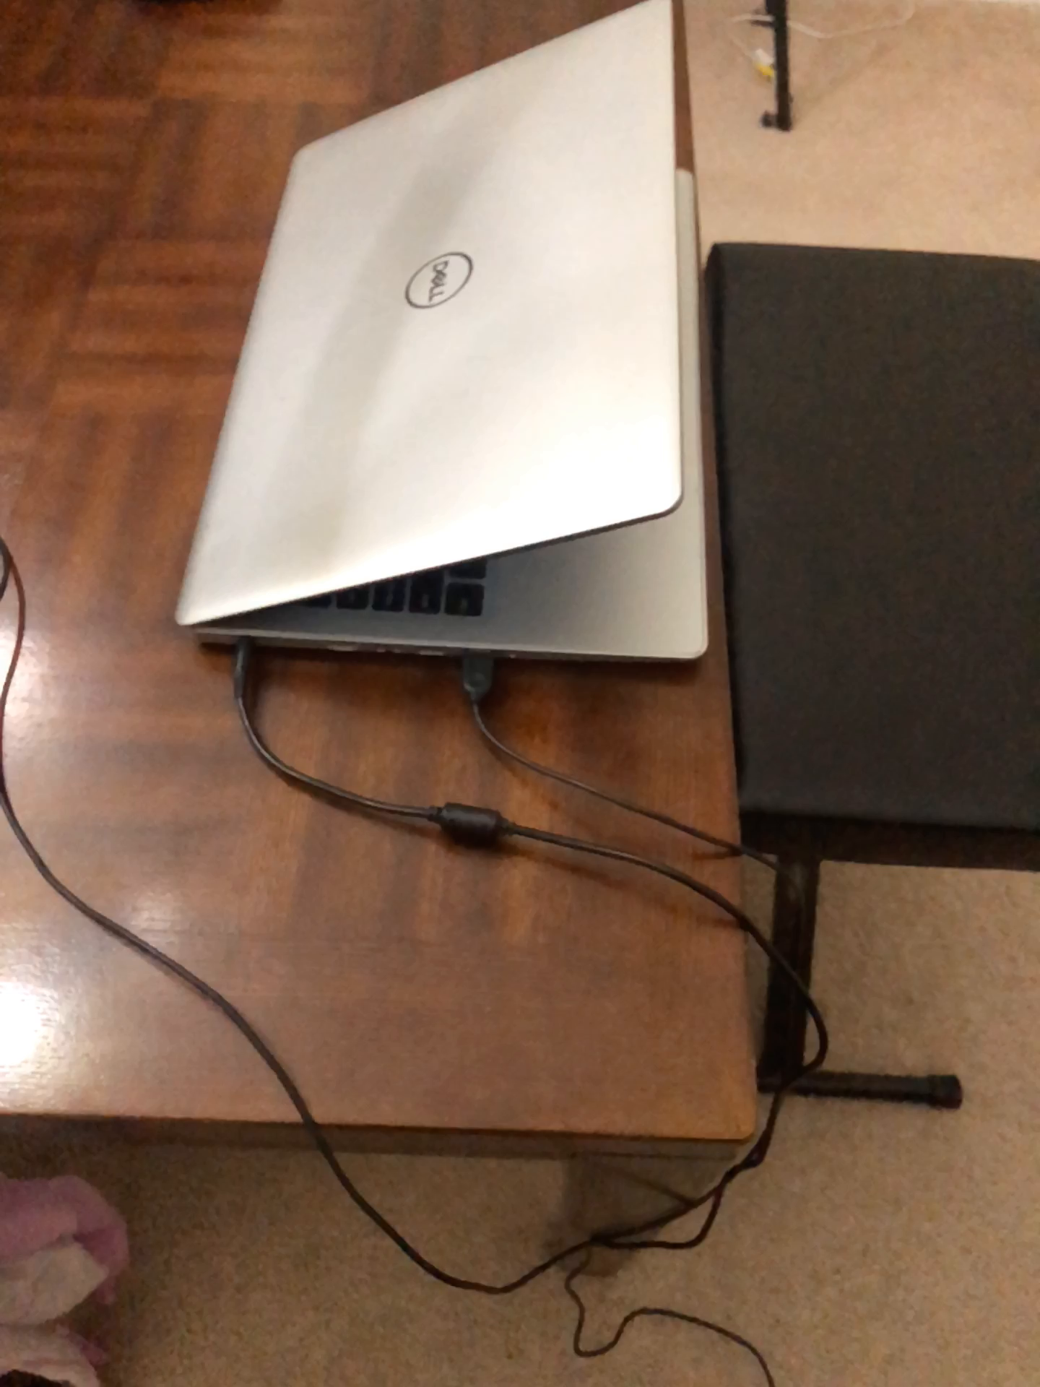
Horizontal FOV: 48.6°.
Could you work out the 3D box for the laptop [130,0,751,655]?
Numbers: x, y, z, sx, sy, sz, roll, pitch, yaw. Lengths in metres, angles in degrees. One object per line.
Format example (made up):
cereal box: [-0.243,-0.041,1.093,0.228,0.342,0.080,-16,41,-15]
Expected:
laptop: [-0.021,-0.209,0.600,0.249,0.103,0.370,3,59,0]
